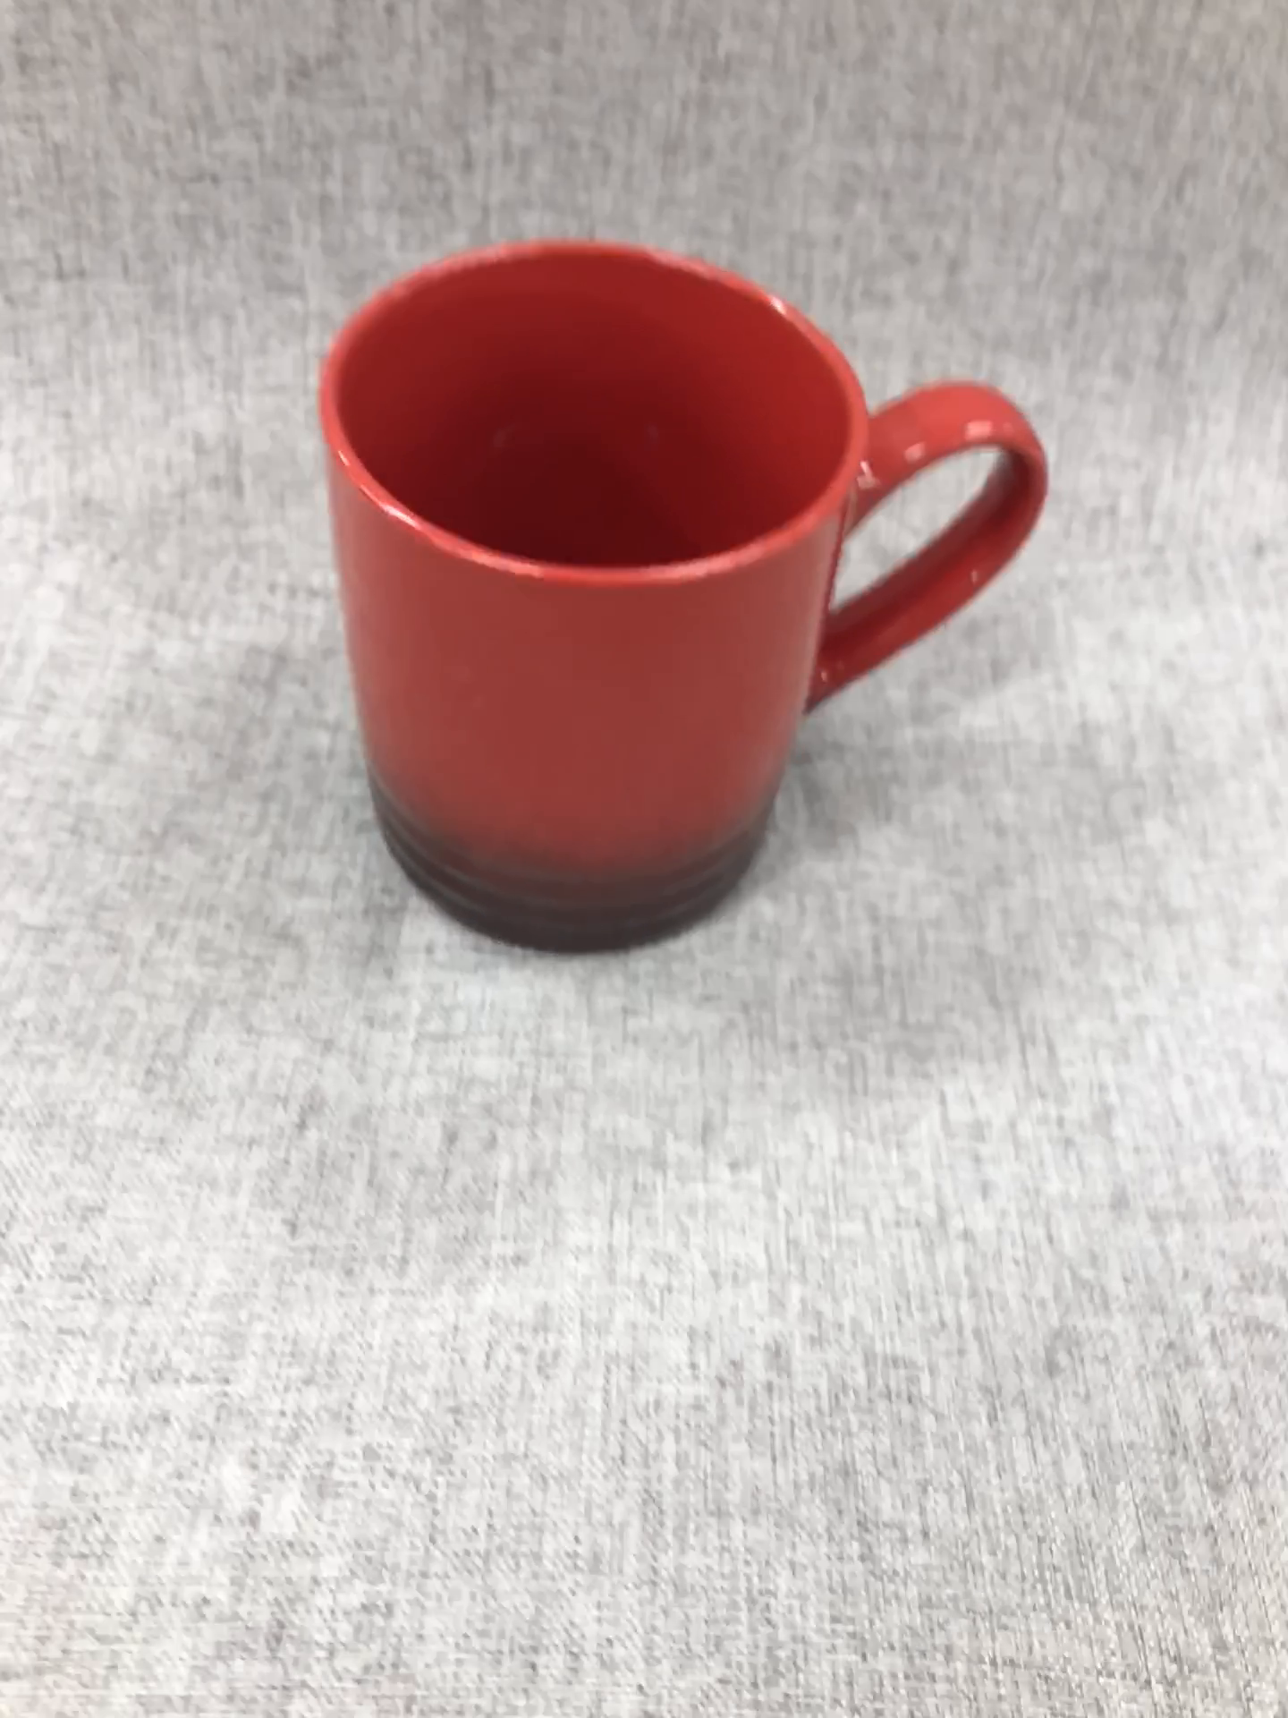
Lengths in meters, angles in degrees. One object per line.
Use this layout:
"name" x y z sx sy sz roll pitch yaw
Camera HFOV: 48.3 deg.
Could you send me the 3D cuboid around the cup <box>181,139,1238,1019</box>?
"cup" 0.006 -0.049 0.258 0.140 0.099 0.080 -16 57 -14
